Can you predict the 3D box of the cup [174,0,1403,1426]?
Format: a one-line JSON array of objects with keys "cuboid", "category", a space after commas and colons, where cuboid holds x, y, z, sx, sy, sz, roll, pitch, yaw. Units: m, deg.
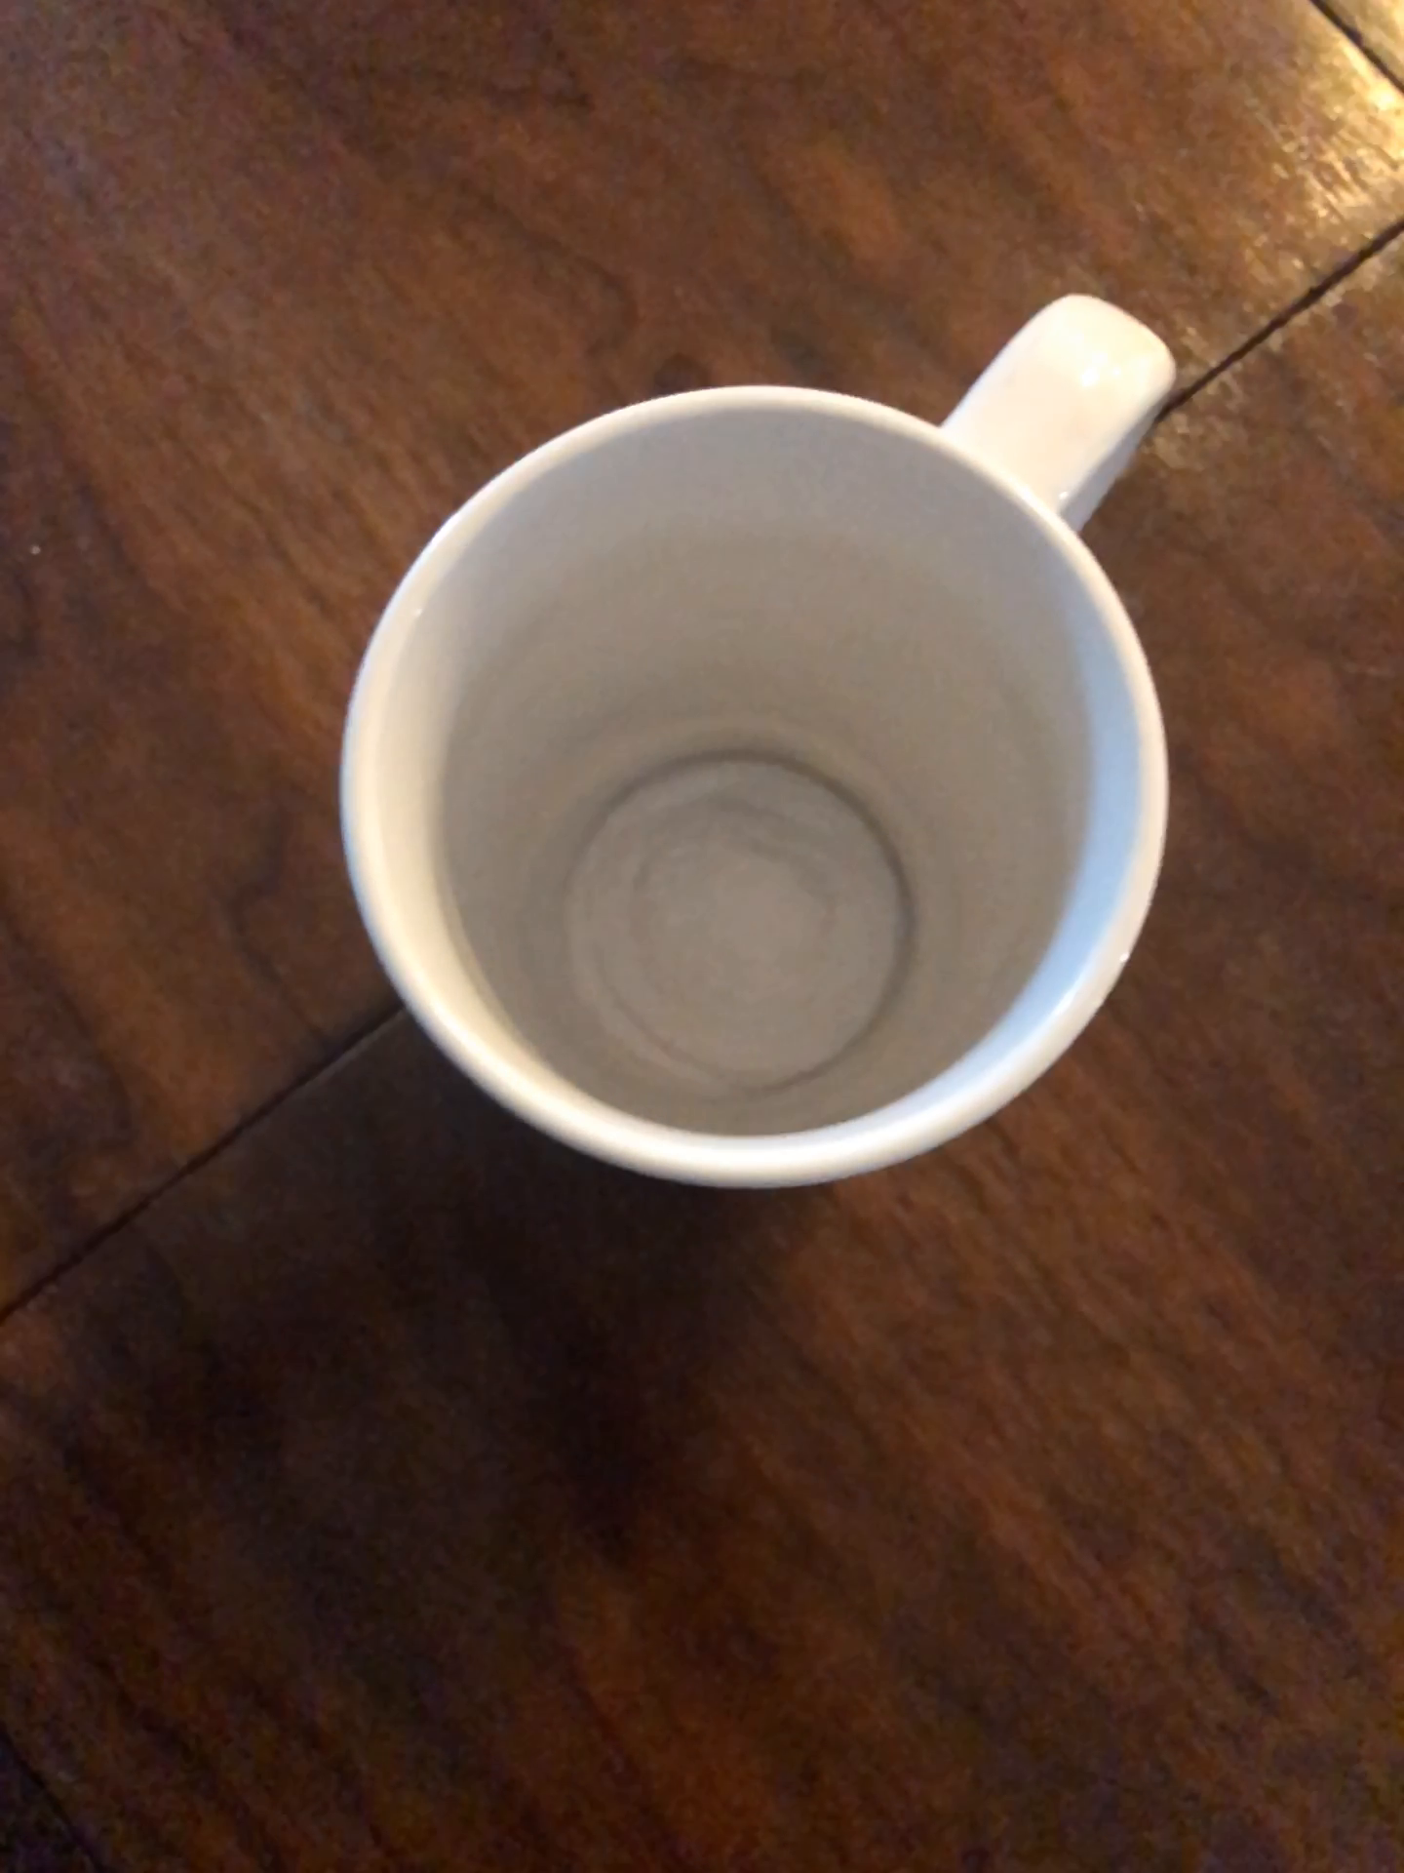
[{"cuboid": [0.024, -0.027, 0.266, 0.110, 0.120, 0.160, 36, 83, 5], "category": "cup"}]
